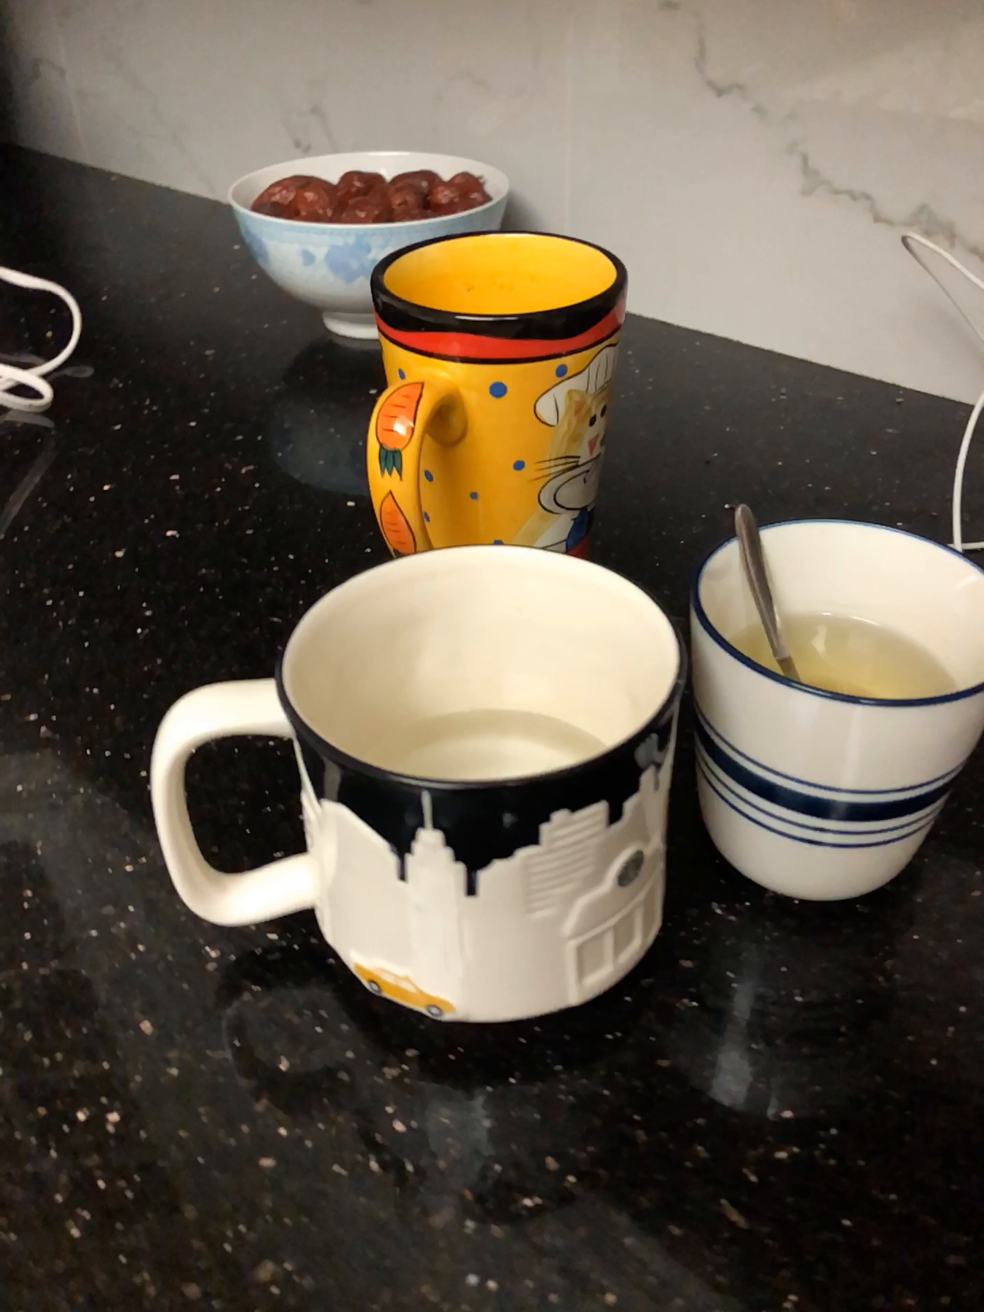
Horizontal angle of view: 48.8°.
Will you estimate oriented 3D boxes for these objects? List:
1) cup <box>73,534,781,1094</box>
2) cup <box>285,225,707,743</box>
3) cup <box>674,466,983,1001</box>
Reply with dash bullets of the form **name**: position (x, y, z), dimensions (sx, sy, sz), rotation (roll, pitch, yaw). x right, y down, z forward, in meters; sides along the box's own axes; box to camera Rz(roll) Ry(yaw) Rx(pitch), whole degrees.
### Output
- **cup**: position (-0.017, 0.038, 0.300), dimensions (0.150, 0.089, 0.111), rotation (-4, 38, -4)
- **cup**: position (0.007, -0.067, 0.393), dimensions (0.090, 0.129, 0.120), rotation (19, 42, 24)
- **cup**: position (0.101, 0.016, 0.316), dimensions (0.080, 0.089, 0.121), rotation (6, 38, 9)
